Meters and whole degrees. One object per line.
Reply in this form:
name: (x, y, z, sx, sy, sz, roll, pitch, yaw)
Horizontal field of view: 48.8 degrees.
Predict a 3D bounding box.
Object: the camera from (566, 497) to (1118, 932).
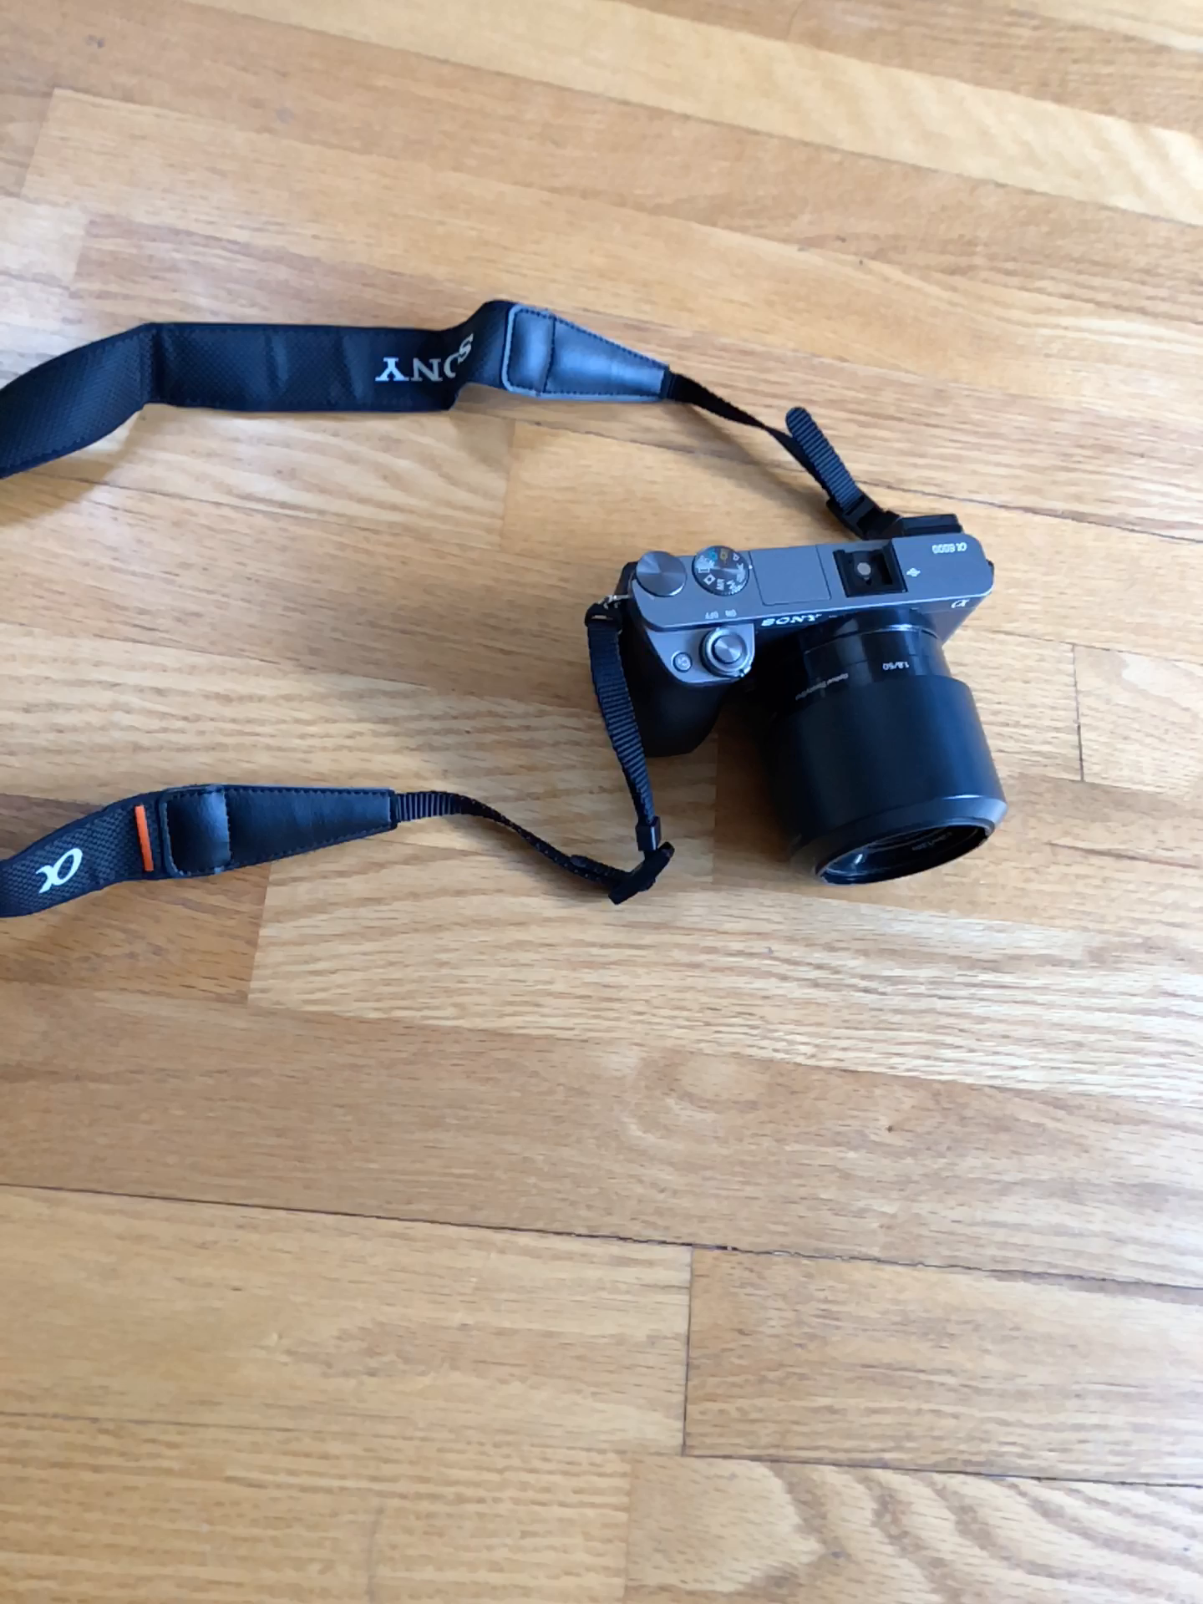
camera: (0.072, -0.030, 0.429, 0.140, 0.060, 0.110, -8, 71, -15)
